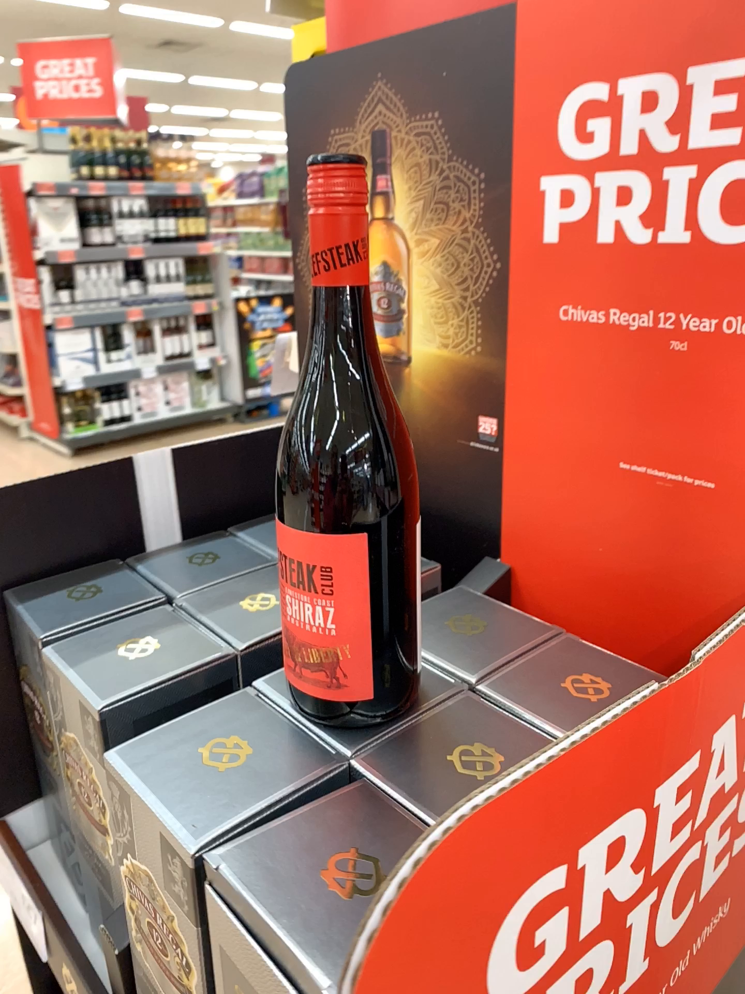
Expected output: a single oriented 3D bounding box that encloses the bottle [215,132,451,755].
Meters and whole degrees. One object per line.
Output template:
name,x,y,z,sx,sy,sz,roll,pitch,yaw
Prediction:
bottle,-0.017,-0.024,0.392,0.080,0.284,0.083,-1,19,0
